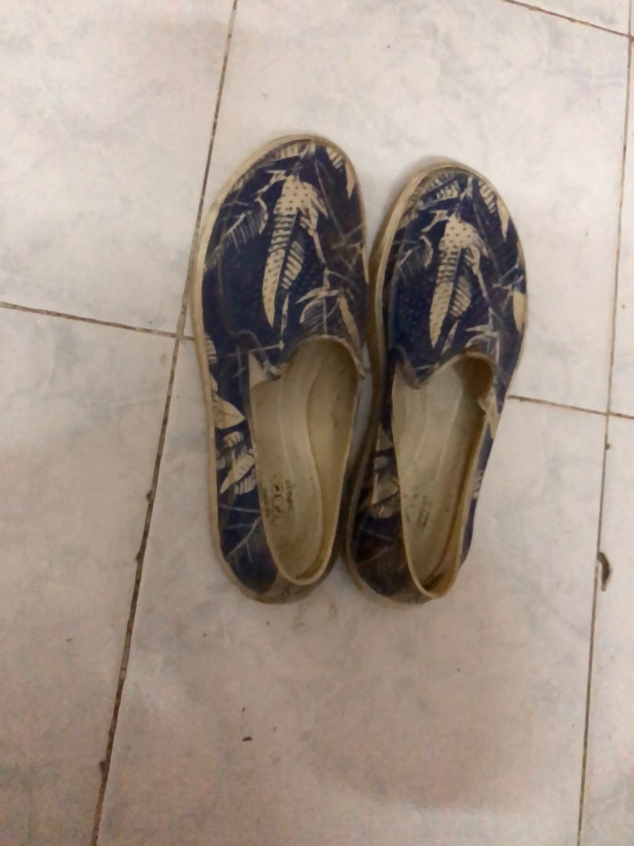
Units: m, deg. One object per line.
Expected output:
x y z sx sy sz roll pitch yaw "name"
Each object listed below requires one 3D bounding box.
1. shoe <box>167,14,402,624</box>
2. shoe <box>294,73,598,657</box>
-0.021 -0.051 0.407 0.110 0.100 0.310 3 81 -12 "shoe"
0.073 -0.032 0.422 0.110 0.100 0.300 12 79 -2 "shoe"
